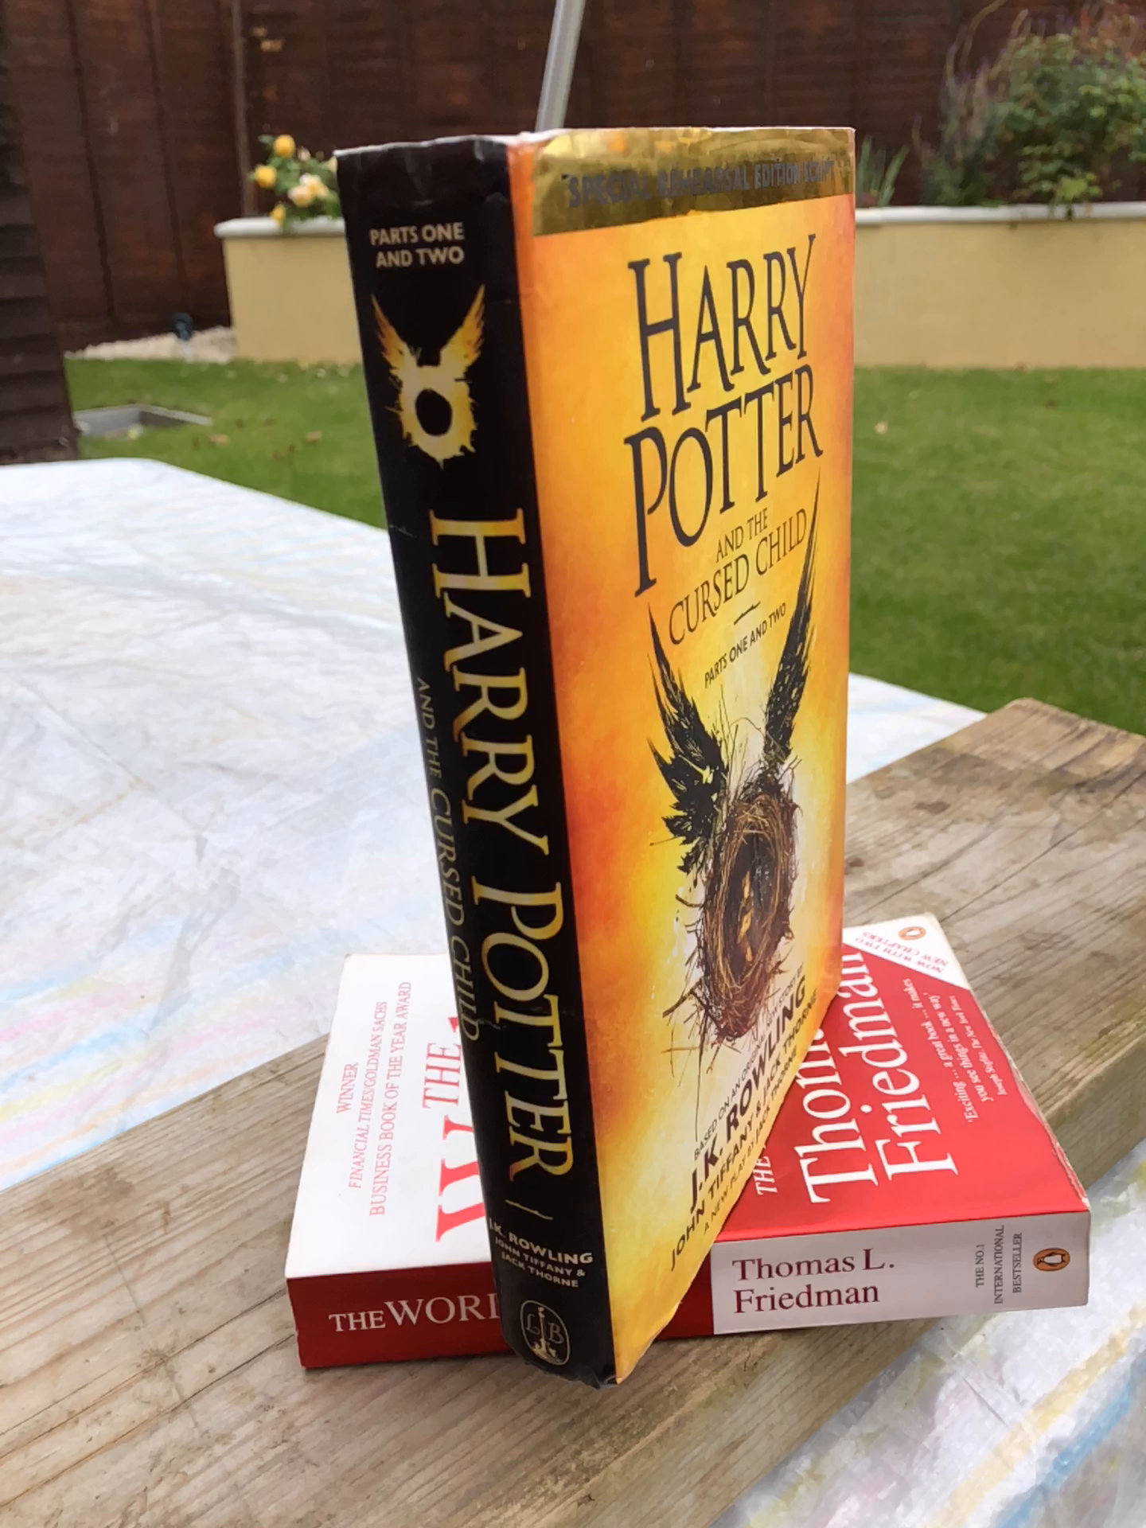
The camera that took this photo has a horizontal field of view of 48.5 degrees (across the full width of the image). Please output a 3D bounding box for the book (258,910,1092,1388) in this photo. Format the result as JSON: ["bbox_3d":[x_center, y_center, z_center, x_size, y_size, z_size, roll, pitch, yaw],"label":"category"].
[{"bbox_3d":[0.022,0.098,0.356,0.190,0.040,0.131,-4,24,-1],"label":"book"}]

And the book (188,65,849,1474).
[{"bbox_3d":[0.015,-0.009,0.278,0.040,0.239,0.171,6,24,28],"label":"book"}]
